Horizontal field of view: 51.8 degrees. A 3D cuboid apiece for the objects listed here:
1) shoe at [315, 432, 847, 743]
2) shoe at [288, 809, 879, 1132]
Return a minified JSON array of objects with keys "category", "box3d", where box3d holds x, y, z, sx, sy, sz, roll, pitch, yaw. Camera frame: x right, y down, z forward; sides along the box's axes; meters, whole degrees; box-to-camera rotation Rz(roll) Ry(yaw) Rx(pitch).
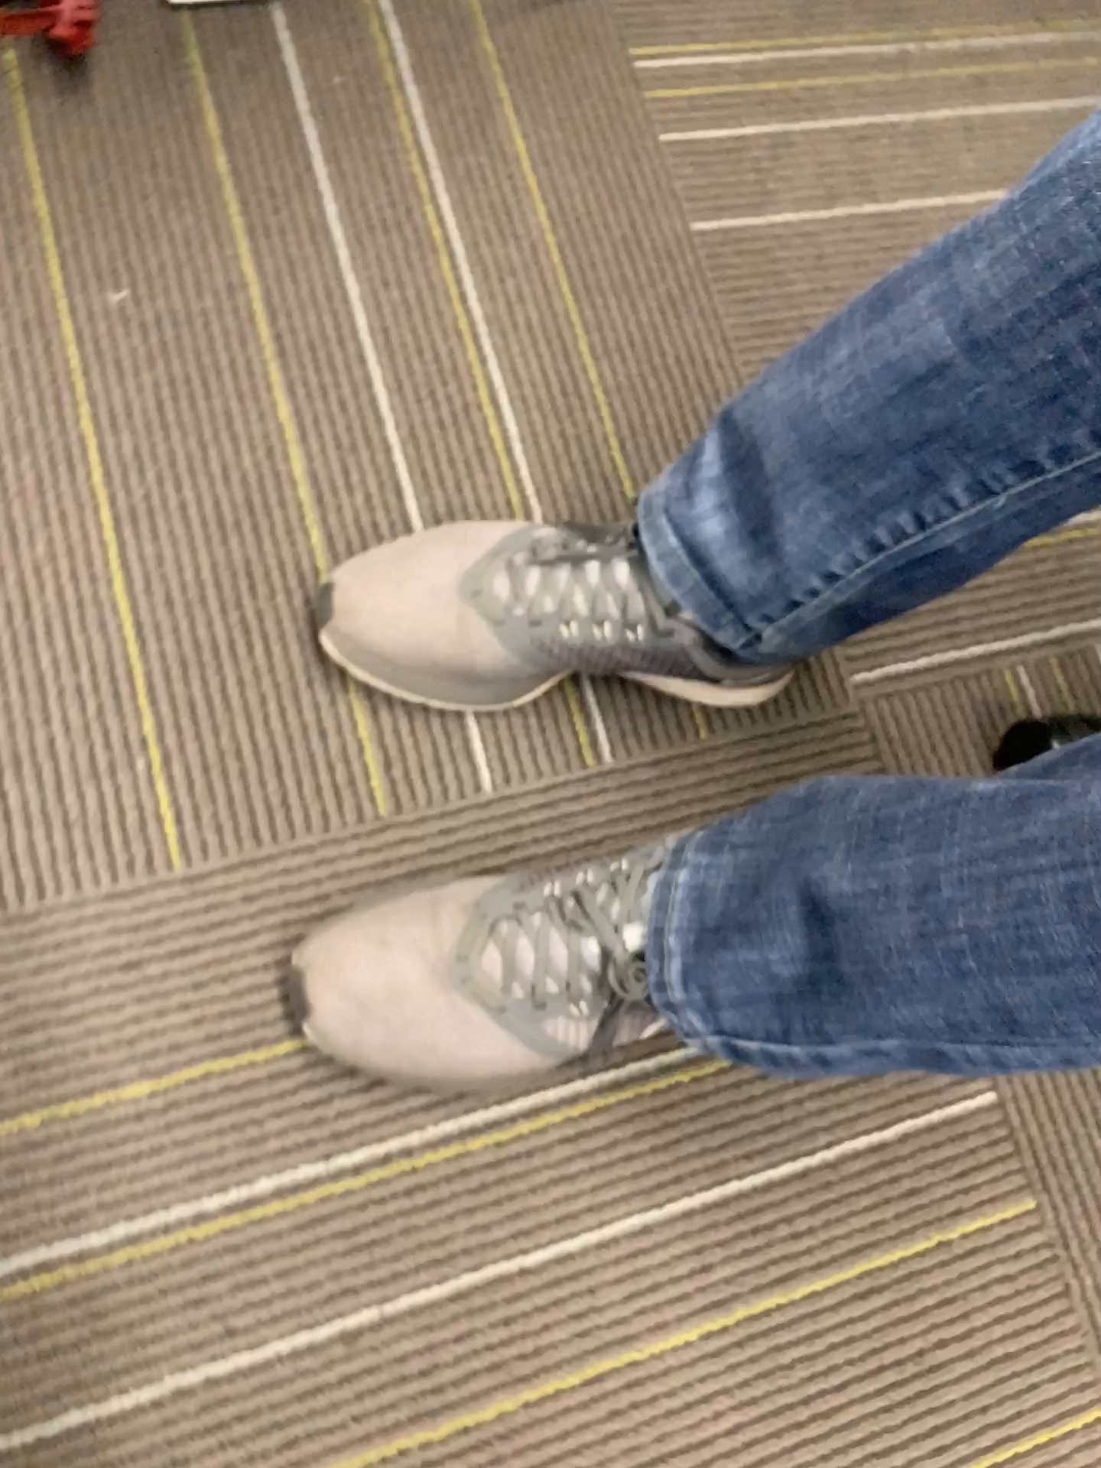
[{"category":"shoe","box3d":[0.015,-0.077,0.646,0.284,0.078,0.132,4,74,-10]},{"category":"shoe","box3d":[0.013,0.121,0.599,0.286,0.078,0.124,-4,75,-13]}]
